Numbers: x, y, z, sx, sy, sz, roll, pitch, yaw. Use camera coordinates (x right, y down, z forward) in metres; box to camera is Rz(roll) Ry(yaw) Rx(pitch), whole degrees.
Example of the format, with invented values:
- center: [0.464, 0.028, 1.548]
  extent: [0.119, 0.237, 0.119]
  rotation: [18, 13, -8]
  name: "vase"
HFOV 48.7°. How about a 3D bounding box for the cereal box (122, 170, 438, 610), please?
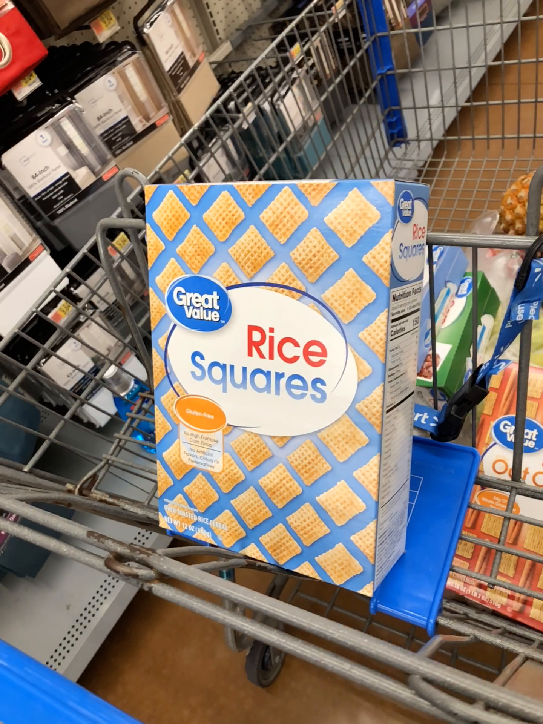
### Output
- center: [0.000, 0.008, 0.453]
  extent: [0.211, 0.280, 0.080]
  rotation: [8, 15, 30]
  name: "cereal box"
